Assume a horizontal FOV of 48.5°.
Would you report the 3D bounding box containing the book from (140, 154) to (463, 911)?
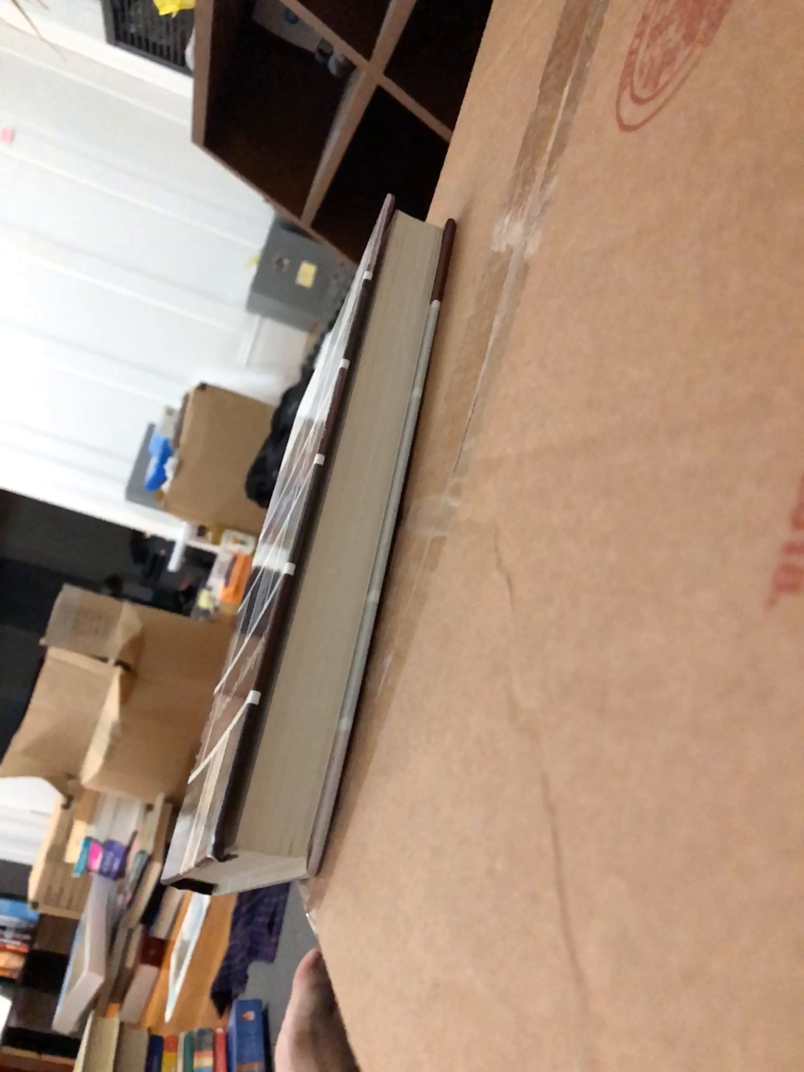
[{"bbox_3d":[-0.043,0.009,0.349,0.180,0.030,0.250,132,153,-59],"label":"book"}]
